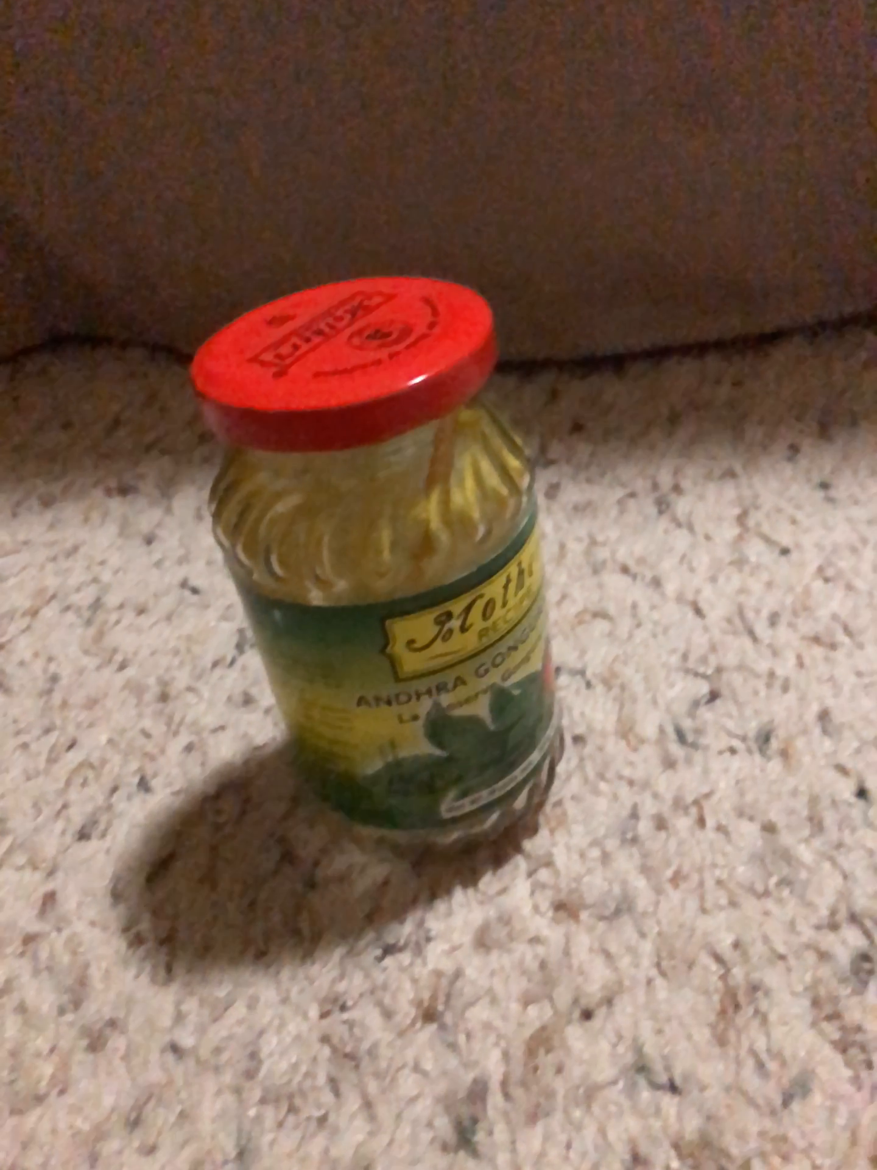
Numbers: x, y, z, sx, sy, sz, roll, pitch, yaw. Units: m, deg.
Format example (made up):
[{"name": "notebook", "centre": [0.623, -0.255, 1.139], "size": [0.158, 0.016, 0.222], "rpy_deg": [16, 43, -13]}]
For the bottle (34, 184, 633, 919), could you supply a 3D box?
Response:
[{"name": "bottle", "centre": [-0.011, -0.009, 0.195], "size": [0.070, 0.110, 0.070], "rpy_deg": [-6, 38, 4]}]
